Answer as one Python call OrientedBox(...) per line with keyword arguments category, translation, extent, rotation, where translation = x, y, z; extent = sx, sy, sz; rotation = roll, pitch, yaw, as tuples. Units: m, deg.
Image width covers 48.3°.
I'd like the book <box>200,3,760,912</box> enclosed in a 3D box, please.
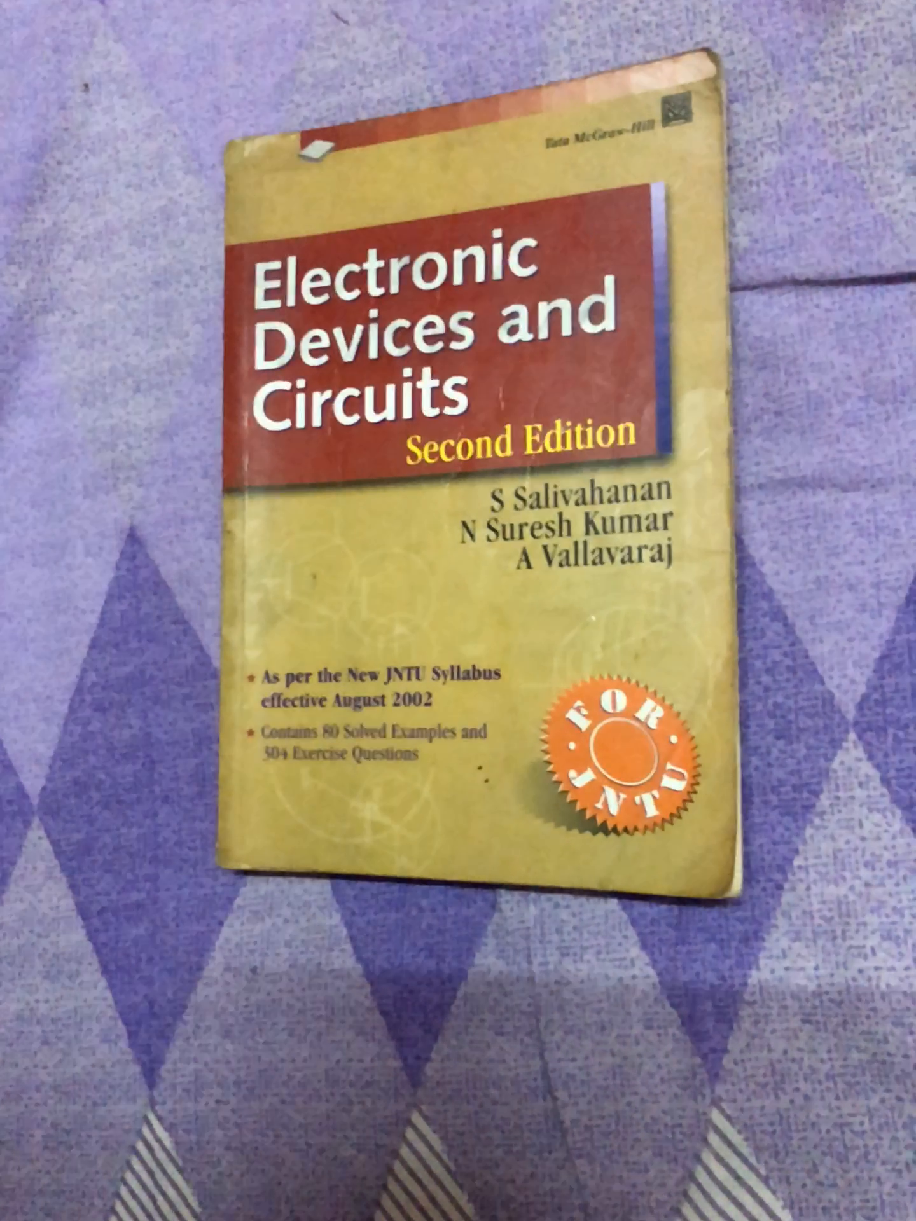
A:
OrientedBox(category="book", translation=(0.003, -0.039, 0.310), extent=(0.160, 0.040, 0.240), rotation=(-2, 85, 18))
